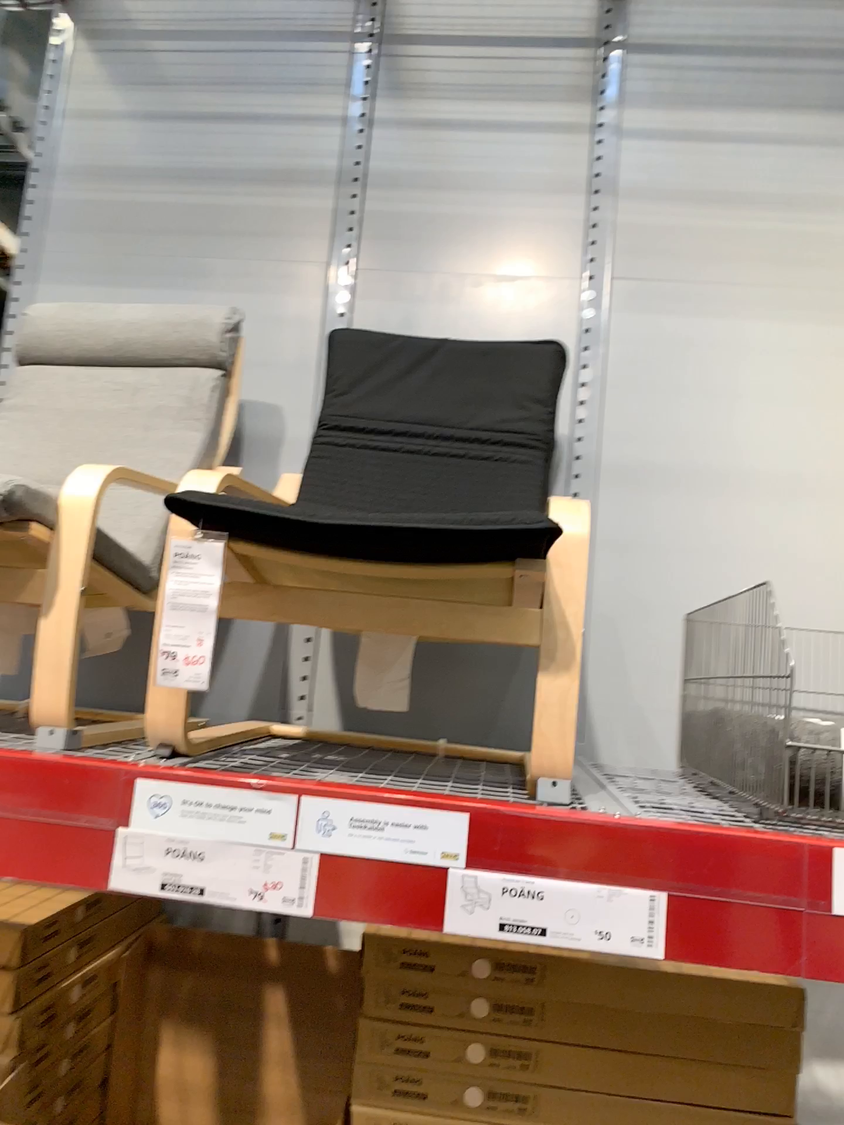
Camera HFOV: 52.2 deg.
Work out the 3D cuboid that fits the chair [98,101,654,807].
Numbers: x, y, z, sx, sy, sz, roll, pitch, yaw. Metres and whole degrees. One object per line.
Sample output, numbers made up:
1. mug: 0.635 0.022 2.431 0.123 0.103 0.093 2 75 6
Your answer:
1. chair: -0.025 -0.145 1.673 0.720 1.012 0.838 5 -8 5
